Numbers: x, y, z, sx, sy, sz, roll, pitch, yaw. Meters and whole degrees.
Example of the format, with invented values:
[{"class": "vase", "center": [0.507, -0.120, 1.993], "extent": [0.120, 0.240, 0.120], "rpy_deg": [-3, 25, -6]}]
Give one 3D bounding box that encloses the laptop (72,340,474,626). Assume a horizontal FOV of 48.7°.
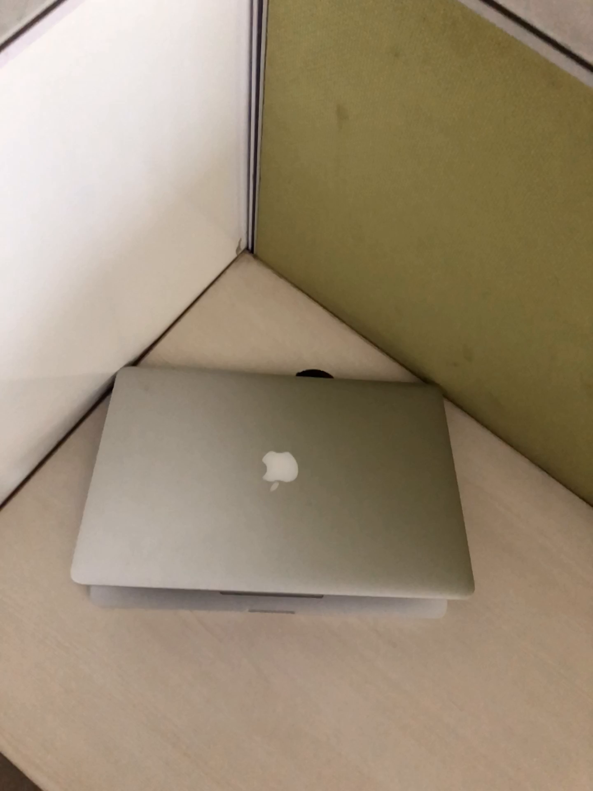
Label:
[{"class": "laptop", "center": [-0.016, 0.086, 0.633], "extent": [0.343, 0.083, 0.244], "rpy_deg": [3, 72, -4]}]
